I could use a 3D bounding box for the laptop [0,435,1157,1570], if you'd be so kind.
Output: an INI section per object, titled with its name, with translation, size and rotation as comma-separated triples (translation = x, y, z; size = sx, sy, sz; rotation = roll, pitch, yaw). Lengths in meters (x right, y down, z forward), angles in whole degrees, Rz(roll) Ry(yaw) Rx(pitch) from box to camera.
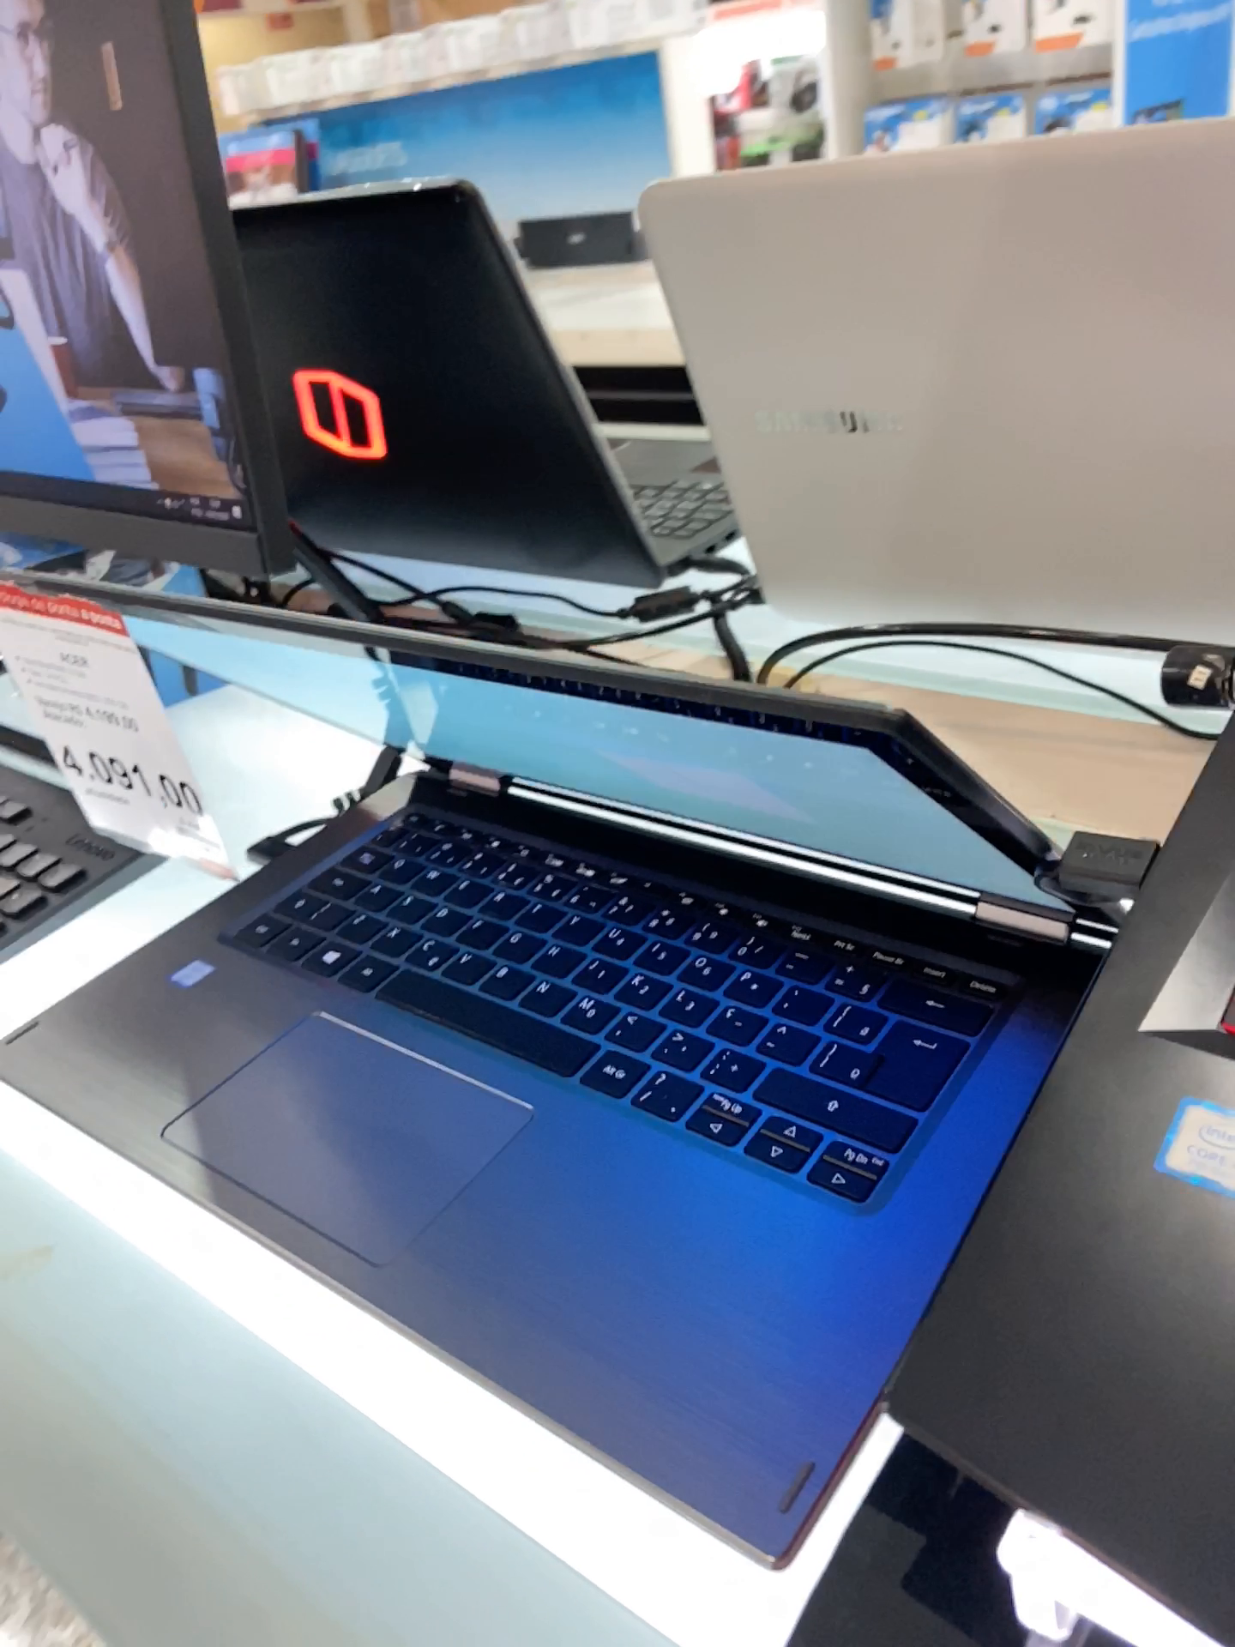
[laptop]
translation = -0.045, -0.002, 0.386
size = 0.328, 0.154, 0.219
rotation = 14, 39, 35
